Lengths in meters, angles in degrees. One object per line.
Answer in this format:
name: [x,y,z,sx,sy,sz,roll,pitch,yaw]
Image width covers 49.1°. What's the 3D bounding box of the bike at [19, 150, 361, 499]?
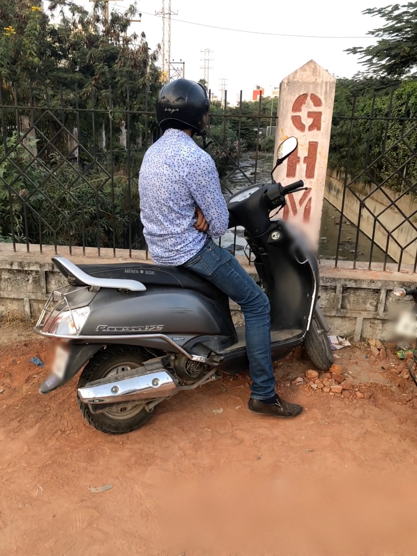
bike: [-0.029,0.023,2.478,1.583,1.217,0.798,-17,25,-40]
